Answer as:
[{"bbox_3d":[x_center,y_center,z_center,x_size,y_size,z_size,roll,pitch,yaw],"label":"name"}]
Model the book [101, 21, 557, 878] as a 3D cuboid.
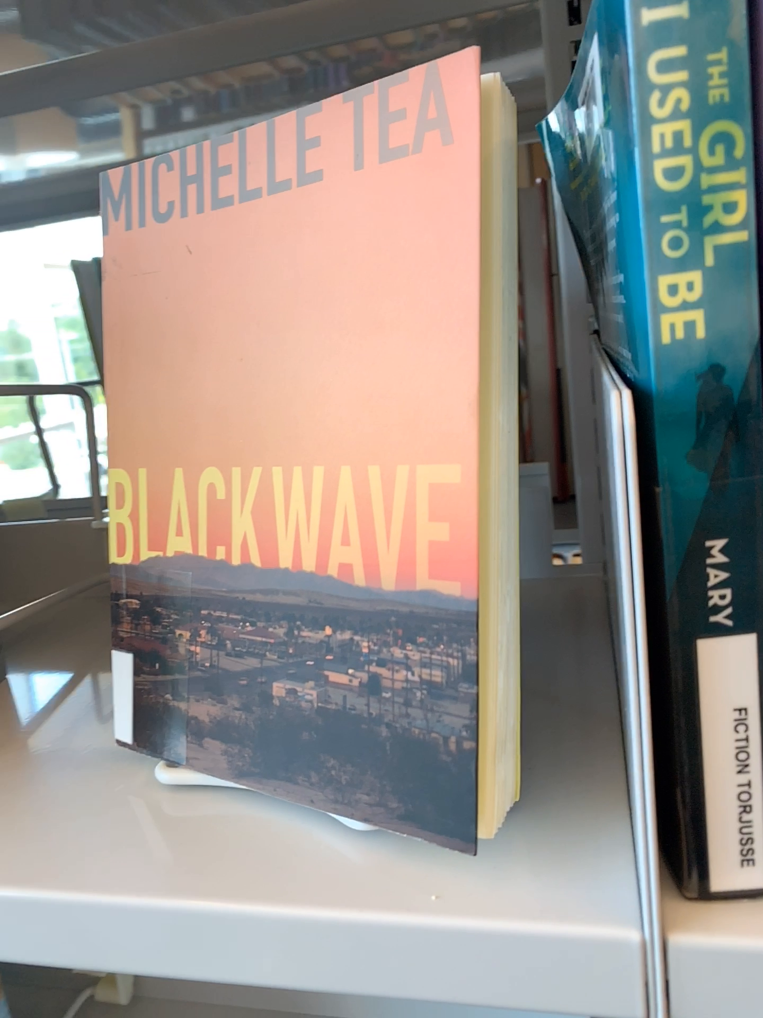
[{"bbox_3d":[-0.023,-0.014,0.243,0.147,0.201,0.036,2,4,35],"label":"book"}]
